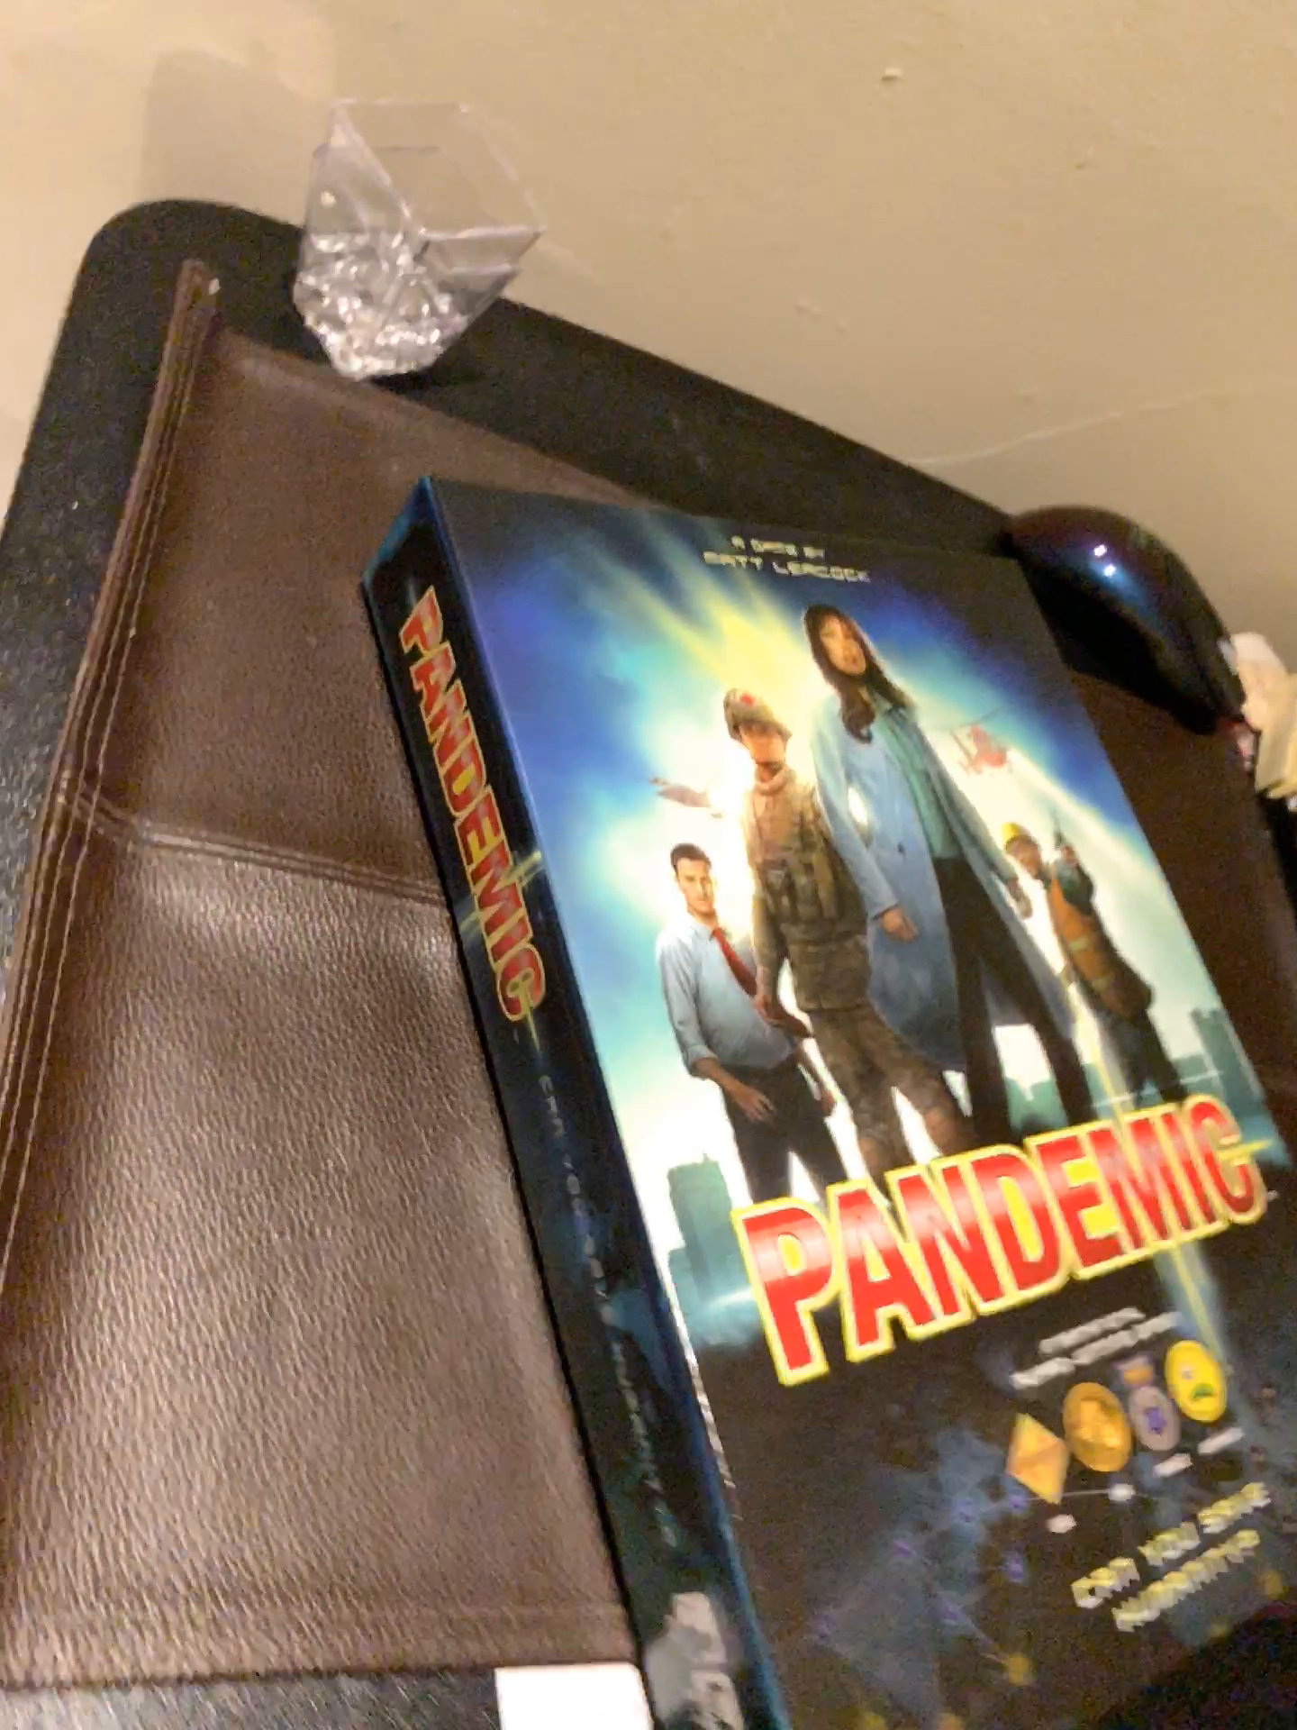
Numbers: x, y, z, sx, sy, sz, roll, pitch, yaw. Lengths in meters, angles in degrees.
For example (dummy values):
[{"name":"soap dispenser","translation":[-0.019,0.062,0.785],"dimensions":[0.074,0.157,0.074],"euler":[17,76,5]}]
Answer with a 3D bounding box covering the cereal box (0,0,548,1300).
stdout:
[{"name":"cereal box","translation":[-0.605,-0.146,0.977],"dimensions":[0.510,0.996,0.472],"euler":[49,48,1]}]
